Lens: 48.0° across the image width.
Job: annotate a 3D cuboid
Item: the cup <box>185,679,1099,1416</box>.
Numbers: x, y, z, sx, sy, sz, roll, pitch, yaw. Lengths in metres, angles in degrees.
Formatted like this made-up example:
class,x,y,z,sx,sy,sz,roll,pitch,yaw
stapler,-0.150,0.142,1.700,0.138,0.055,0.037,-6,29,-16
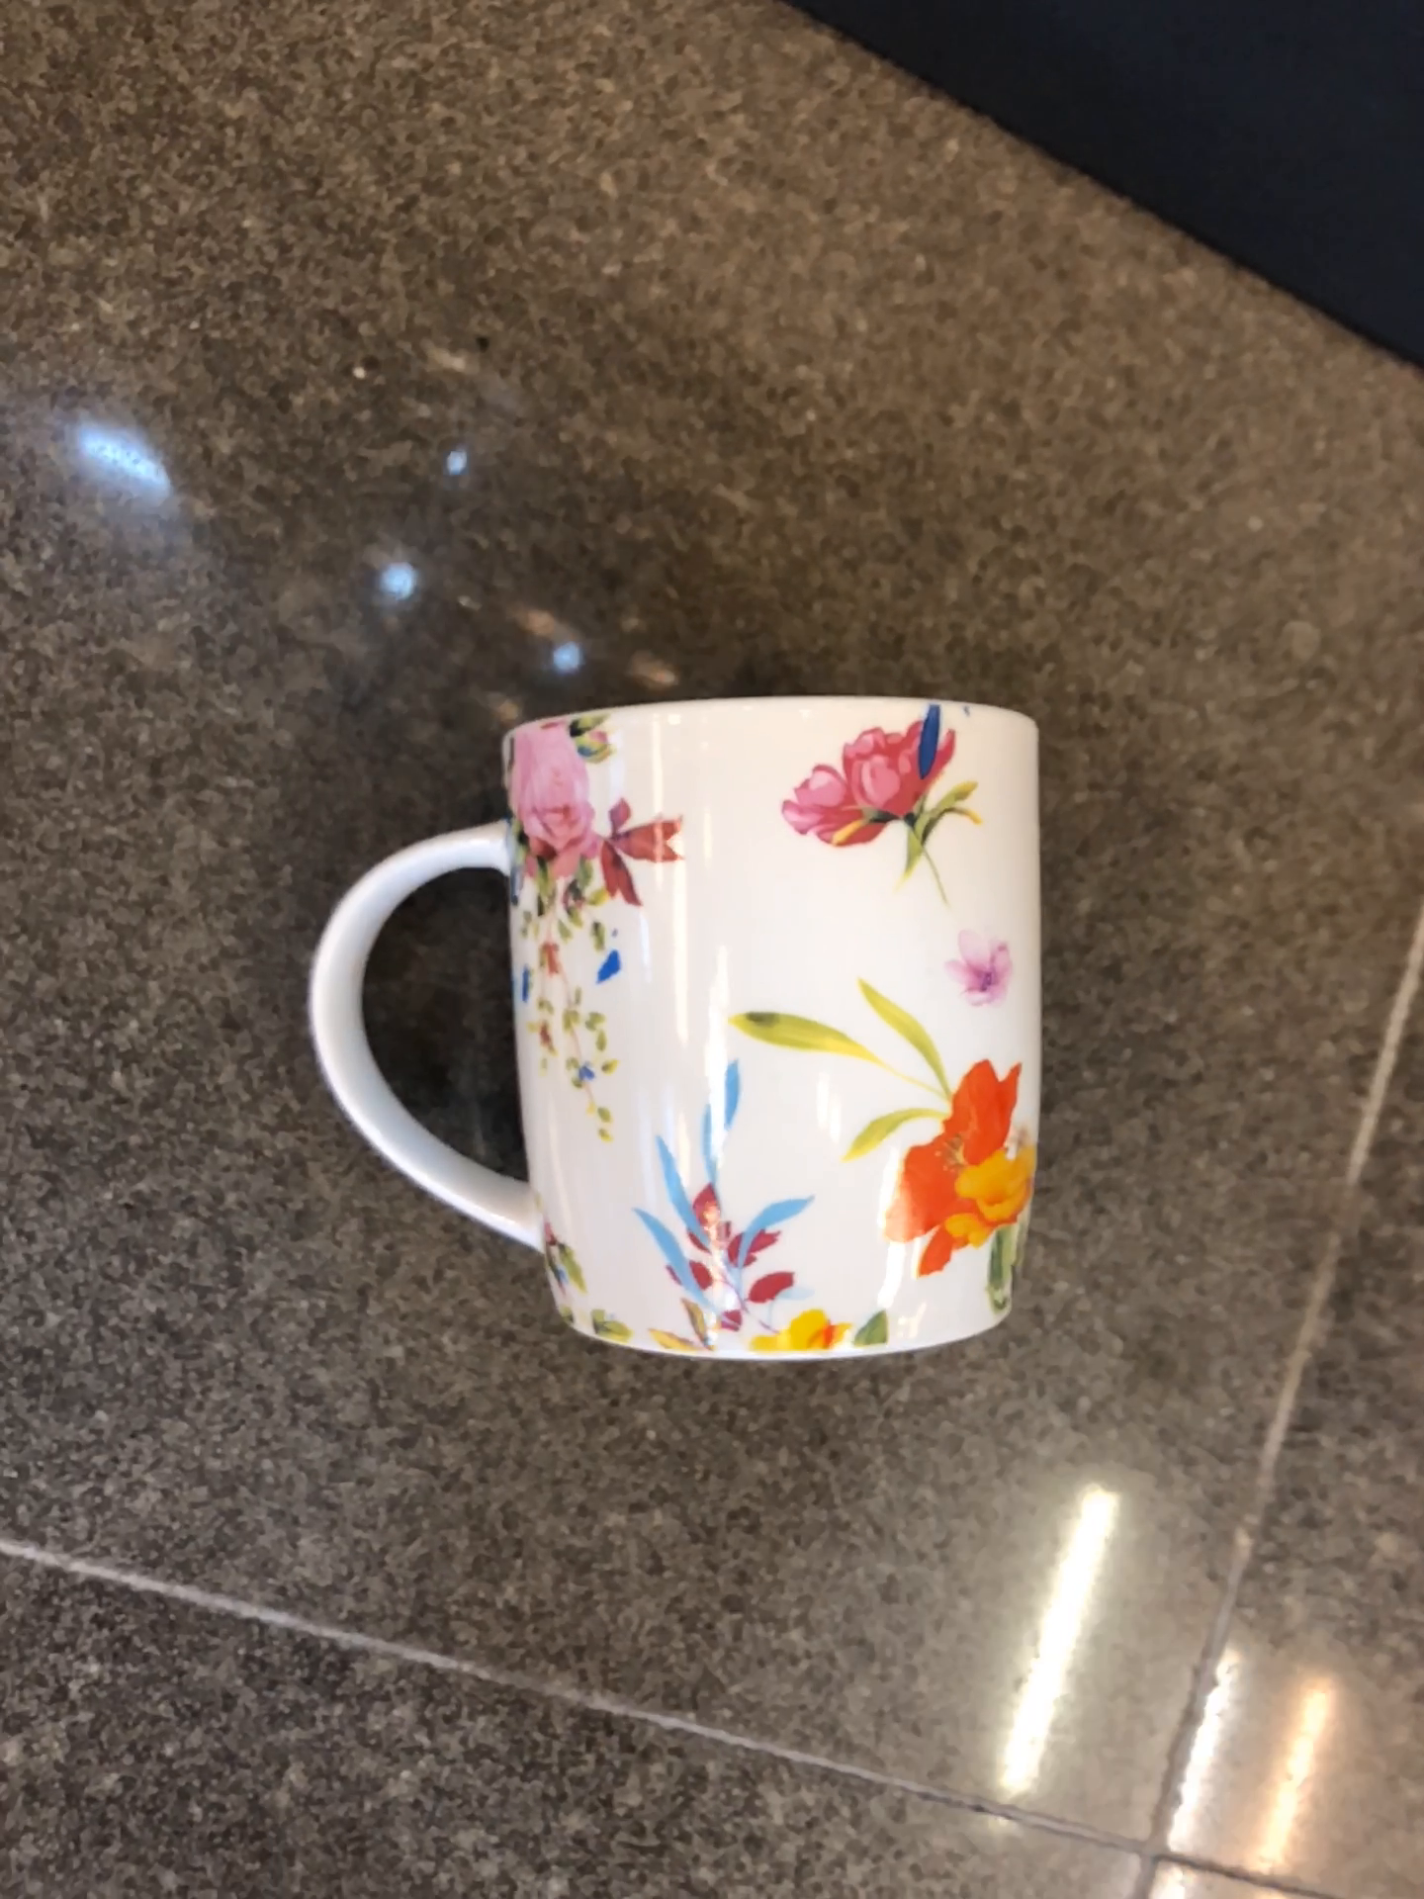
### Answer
class,x,y,z,sx,sy,sz,roll,pitch,yaw
cup,-0.006,0.015,0.251,0.120,0.080,0.090,-3,88,17
